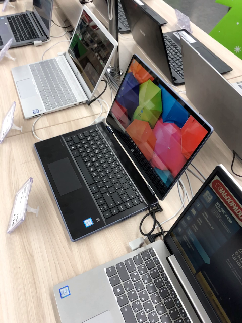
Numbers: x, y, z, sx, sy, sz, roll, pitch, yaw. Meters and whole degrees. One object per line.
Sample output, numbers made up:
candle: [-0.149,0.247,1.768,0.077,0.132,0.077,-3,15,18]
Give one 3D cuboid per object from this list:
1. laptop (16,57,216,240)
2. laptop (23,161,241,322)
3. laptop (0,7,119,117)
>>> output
laptop: [-0.031,-0.059,0.646,0.326,0.194,0.327,-20,51,-18]
laptop: [0.091,0.240,0.347,0.329,0.218,0.353,-17,50,-16]
laptop: [-0.213,-0.356,0.918,0.323,0.171,0.293,-19,53,-17]
